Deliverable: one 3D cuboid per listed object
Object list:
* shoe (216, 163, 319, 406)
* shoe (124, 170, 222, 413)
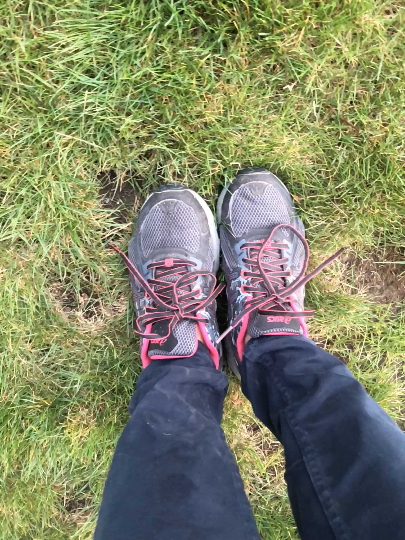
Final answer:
[{"bbox_3d":[0.069,0.010,0.514,0.090,0.120,0.250,-2,100,-4],"label":"shoe"},{"bbox_3d":[-0.028,0.019,0.508,0.088,0.120,0.245,-2,97,-1],"label":"shoe"}]
